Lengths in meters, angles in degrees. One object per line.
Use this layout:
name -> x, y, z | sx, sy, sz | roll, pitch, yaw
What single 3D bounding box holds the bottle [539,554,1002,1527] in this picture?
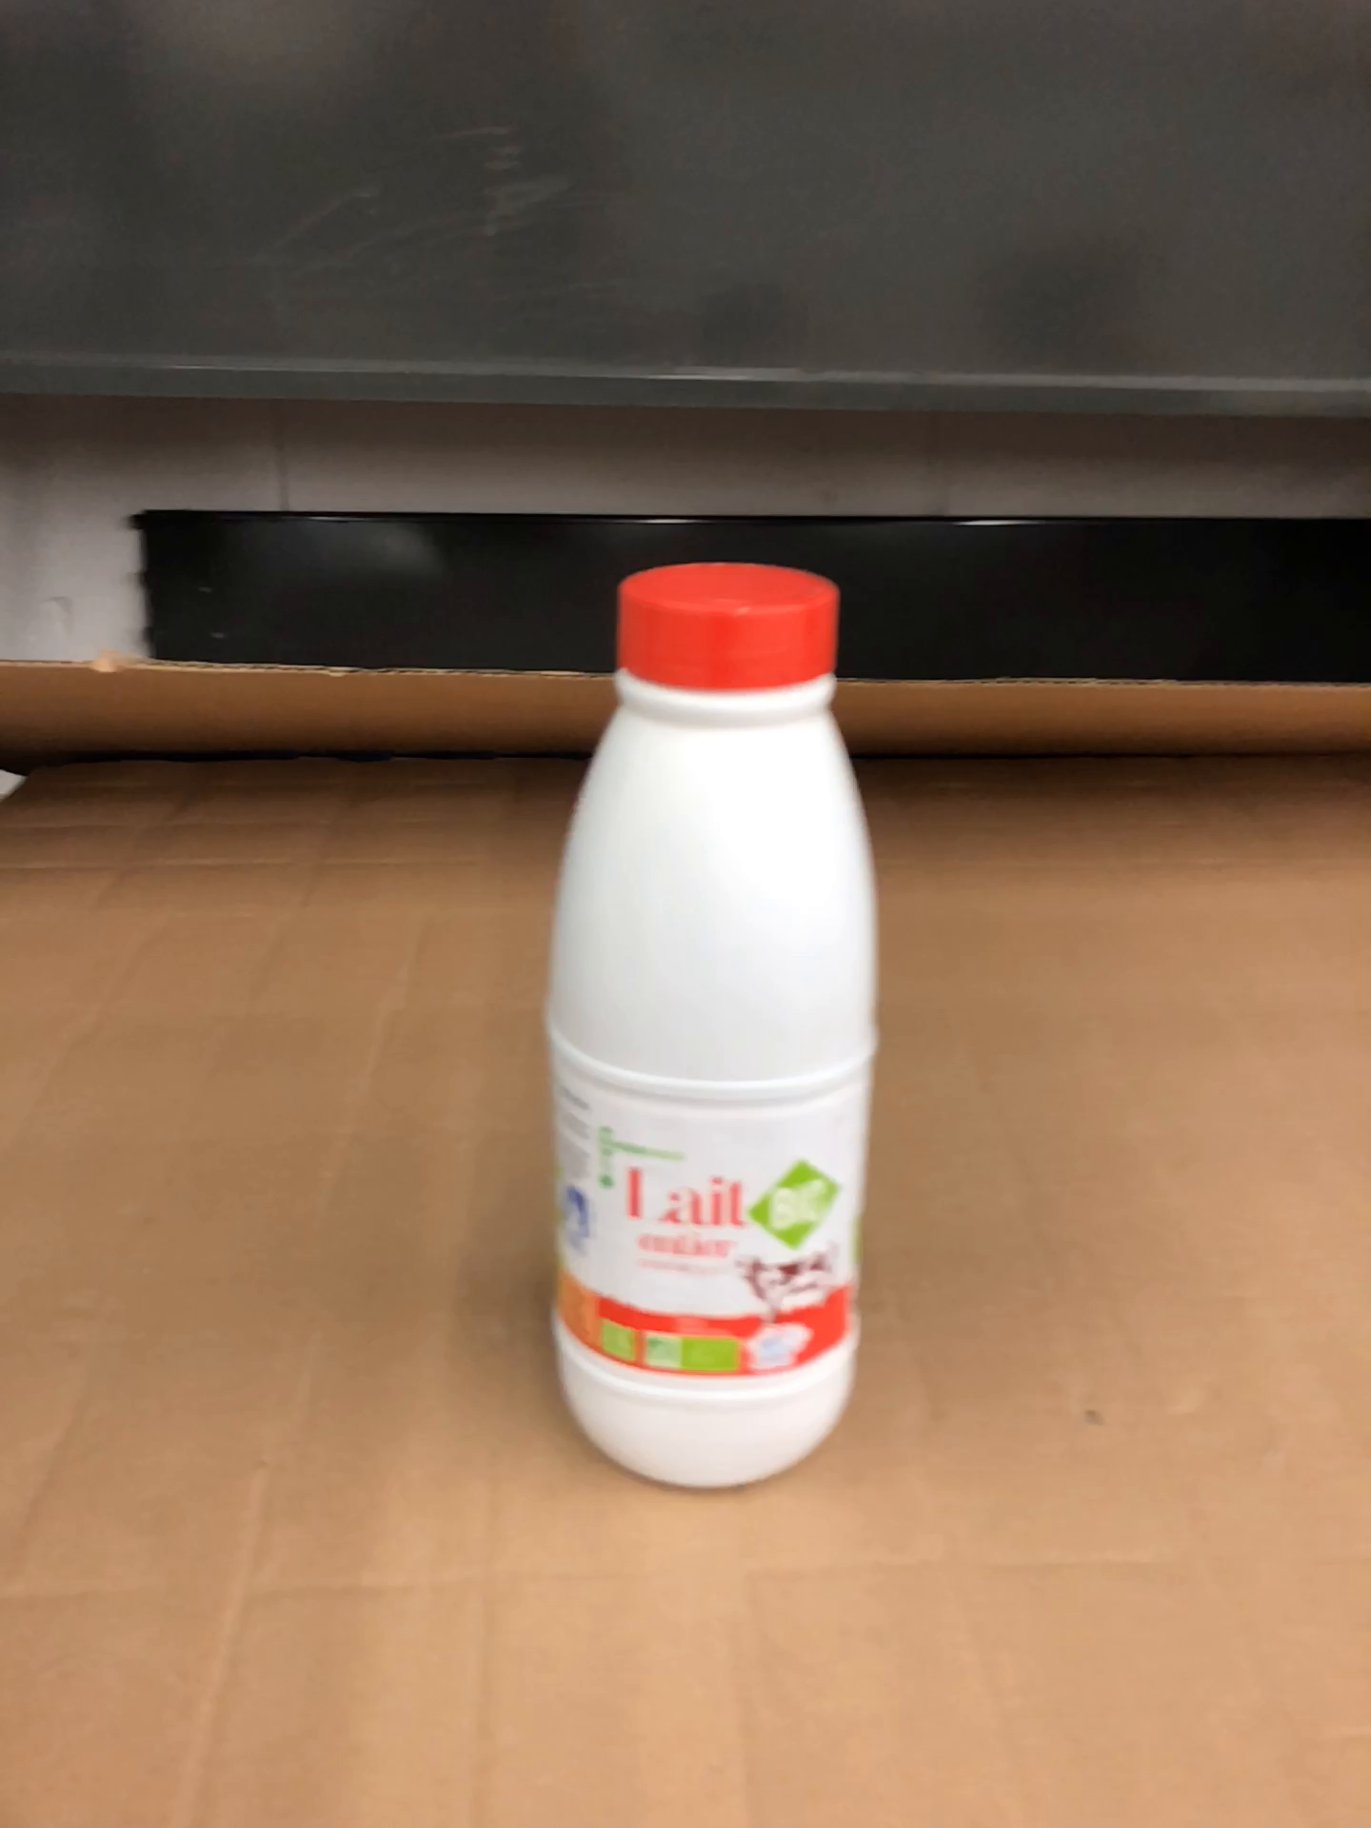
bottle -> 0.011, 0.035, 0.372 | 0.090, 0.229, 0.080 | -1, 25, -5
